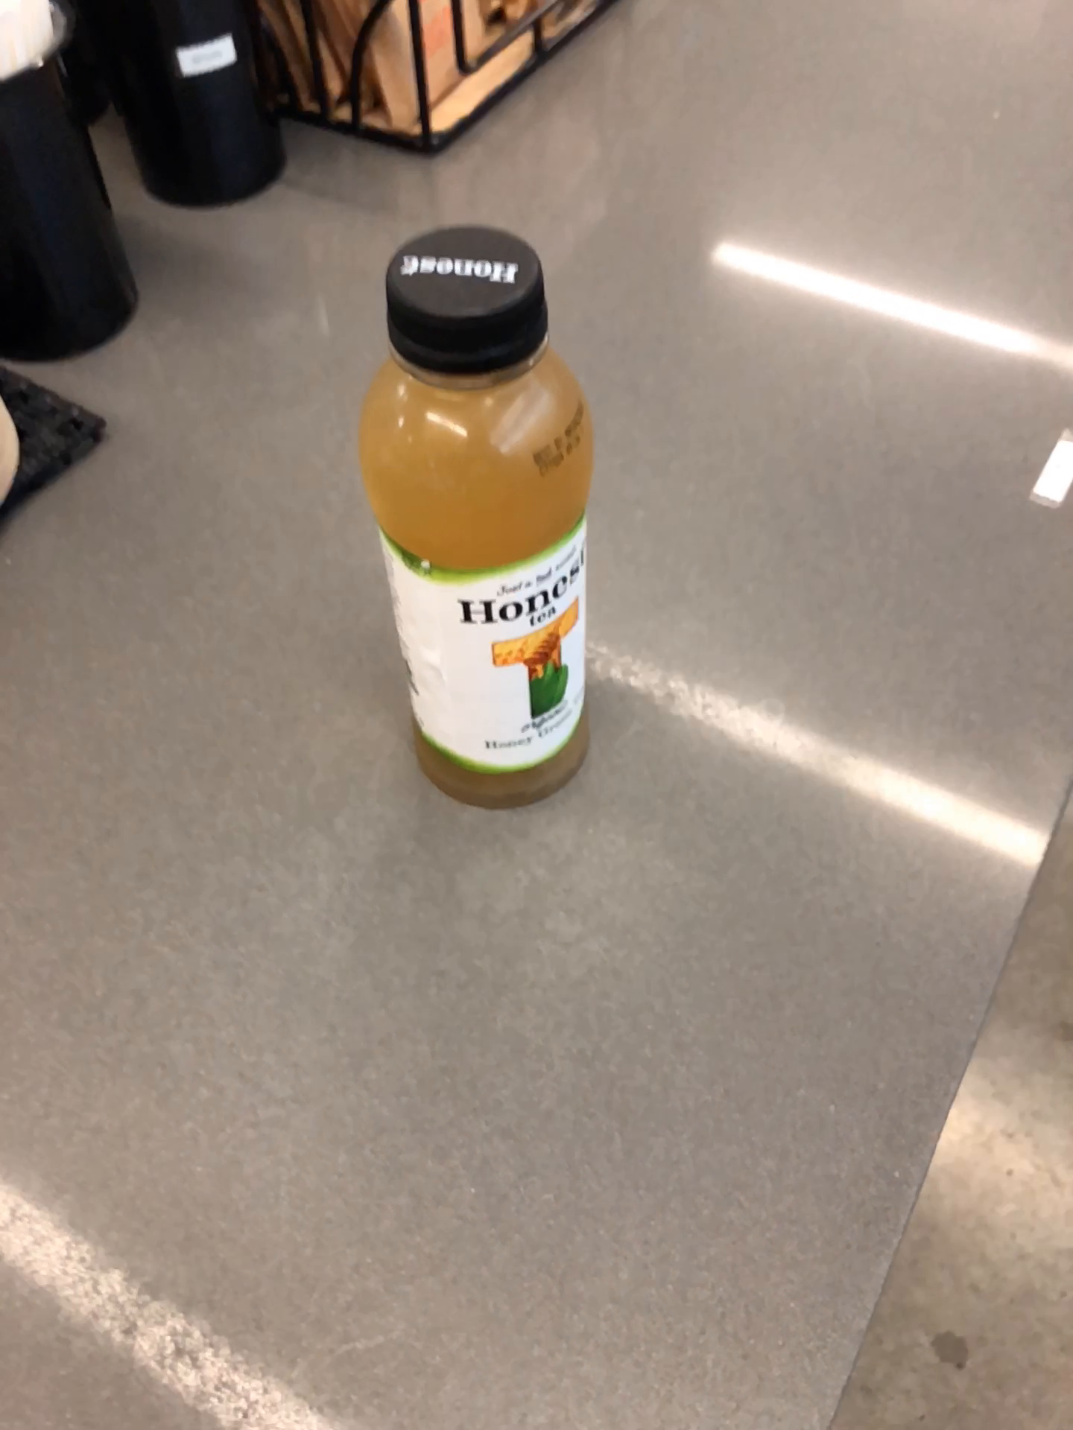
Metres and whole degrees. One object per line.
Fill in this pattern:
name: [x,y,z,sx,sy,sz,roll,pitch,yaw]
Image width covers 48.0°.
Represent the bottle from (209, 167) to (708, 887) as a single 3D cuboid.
bottle: [-0.017,-0.048,0.380,0.090,0.189,0.090,-1,53,2]
